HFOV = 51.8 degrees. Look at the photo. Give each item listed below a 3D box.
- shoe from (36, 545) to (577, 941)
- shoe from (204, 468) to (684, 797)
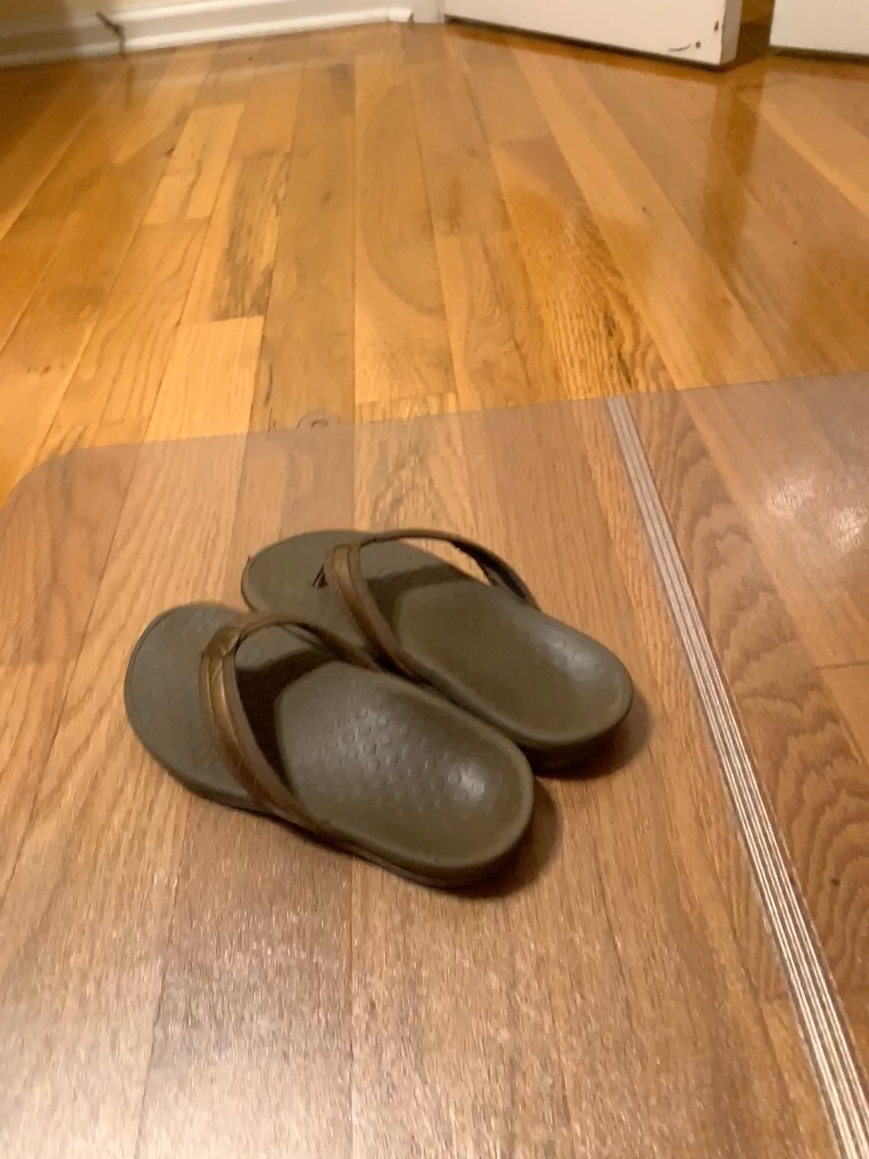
[{"bbox_3d":[-0.064,0.068,0.444,0.247,0.061,0.100,17,48,24],"label":"shoe"},{"bbox_3d":[-0.001,0.017,0.496,0.251,0.049,0.092,22,51,28],"label":"shoe"}]
